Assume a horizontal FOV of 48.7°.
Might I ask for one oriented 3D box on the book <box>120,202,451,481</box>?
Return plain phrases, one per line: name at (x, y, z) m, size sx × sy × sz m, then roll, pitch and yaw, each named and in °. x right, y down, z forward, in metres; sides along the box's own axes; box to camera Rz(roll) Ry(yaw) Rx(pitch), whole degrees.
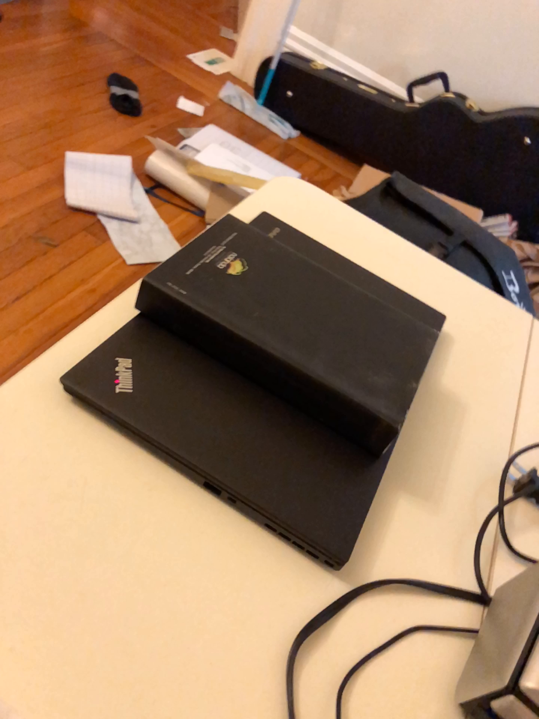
book at (0.023, -0.027, 0.481) m, size 0.230 × 0.040 × 0.151 m, roll 32°, pitch 42°, yaw 5°
